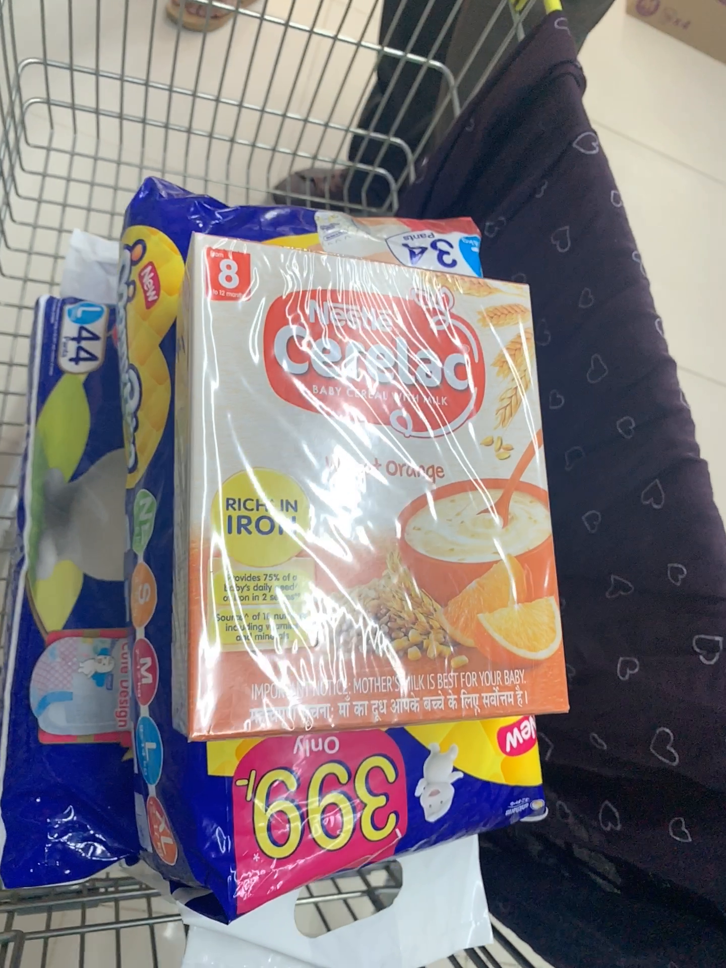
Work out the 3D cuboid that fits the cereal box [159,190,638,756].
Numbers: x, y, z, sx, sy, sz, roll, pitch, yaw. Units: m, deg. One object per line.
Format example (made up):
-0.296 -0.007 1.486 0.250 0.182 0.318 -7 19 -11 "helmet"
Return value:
0.011 -0.003 0.297 0.170 0.050 0.190 2 77 -19 "cereal box"
